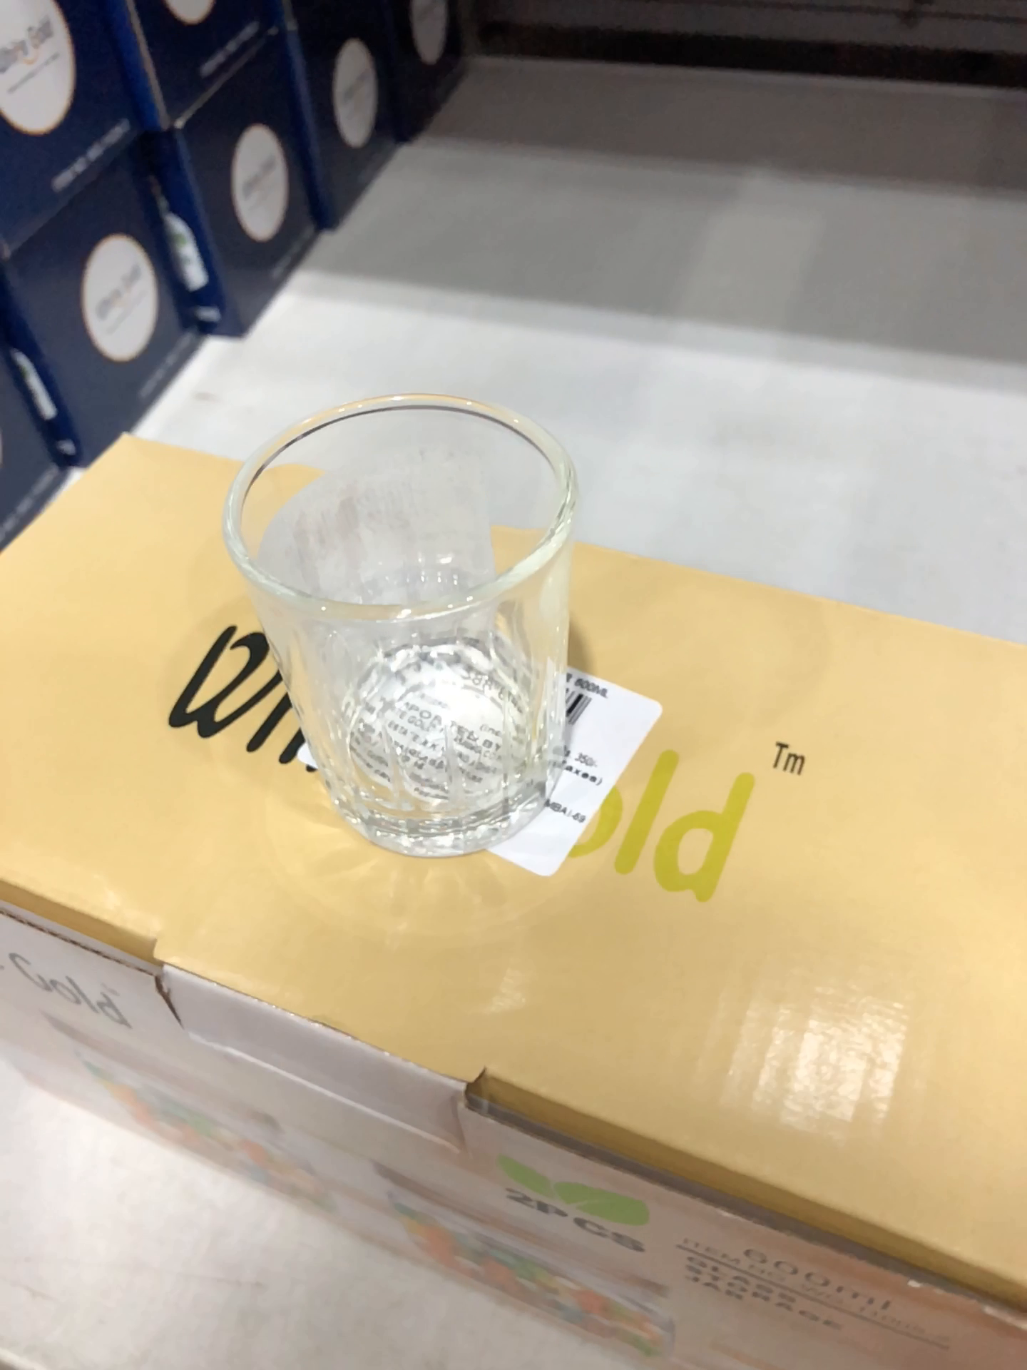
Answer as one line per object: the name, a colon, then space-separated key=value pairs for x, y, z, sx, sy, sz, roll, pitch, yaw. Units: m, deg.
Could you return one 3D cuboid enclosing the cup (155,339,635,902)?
cup: x=-0.010 y=-0.008 z=0.166 sx=0.050 sy=0.060 sz=0.050 roll=-3 pitch=49 yaw=3
